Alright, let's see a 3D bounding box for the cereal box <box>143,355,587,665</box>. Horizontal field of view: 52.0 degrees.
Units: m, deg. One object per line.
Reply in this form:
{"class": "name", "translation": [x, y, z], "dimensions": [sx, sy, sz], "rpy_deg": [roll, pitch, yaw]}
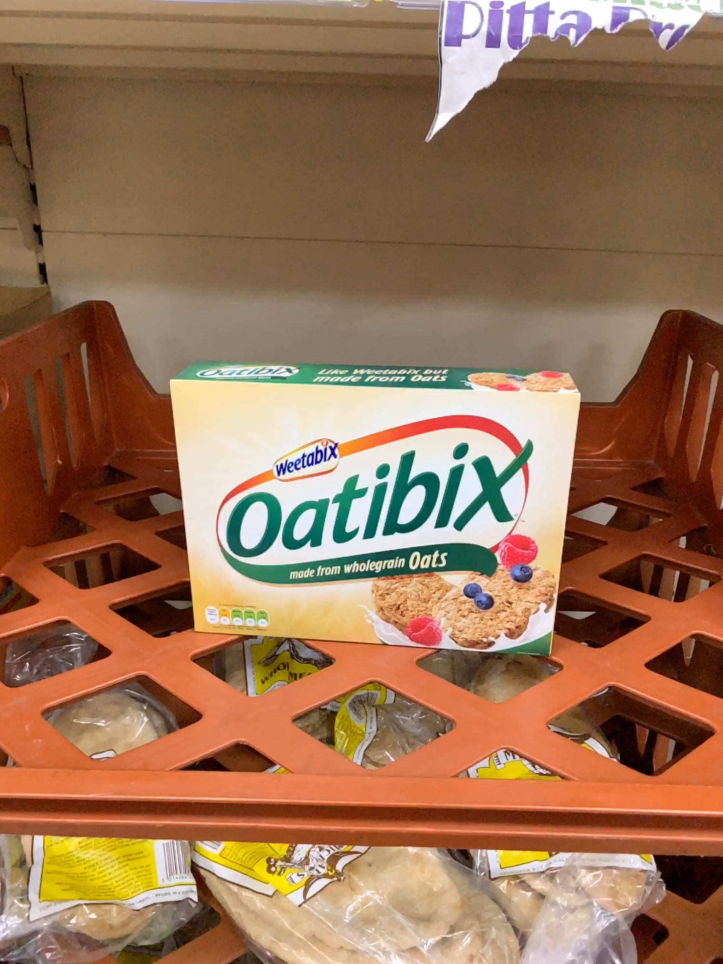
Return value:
{"class": "cereal box", "translation": [0.001, 0.016, 0.497], "dimensions": [0.260, 0.179, 0.071], "rpy_deg": [3, 22, 5]}
